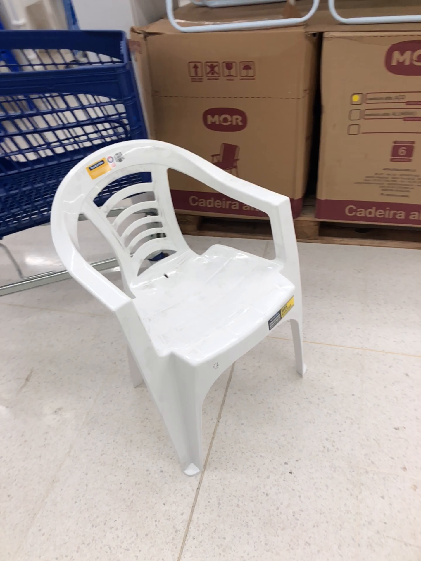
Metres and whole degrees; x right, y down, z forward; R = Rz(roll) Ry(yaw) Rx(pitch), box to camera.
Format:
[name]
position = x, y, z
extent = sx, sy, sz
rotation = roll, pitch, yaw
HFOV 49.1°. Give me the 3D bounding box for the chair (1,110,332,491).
[chair]
position = -0.066, 0.033, 1.214
extent = 0.522, 0.695, 0.502
rotation = -35, 47, -28
